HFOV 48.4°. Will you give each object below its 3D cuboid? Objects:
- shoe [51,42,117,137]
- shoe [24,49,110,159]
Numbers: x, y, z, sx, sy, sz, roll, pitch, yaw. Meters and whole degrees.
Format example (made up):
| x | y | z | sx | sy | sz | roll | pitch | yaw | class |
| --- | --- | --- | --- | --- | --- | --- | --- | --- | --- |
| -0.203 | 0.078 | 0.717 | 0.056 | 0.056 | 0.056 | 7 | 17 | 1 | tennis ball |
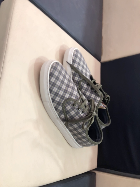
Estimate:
| x | y | z | sx | sy | sz | roll | pitch | yaw | class |
| --- | --- | --- | --- | --- | --- | --- | --- | --- | --- |
| 0.052 | -0.009 | 0.491 | 0.101 | 0.099 | 0.260 | -36 | 115 | -42 | shoe |
| 0.007 | 0.036 | 0.424 | 0.101 | 0.099 | 0.271 | -46 | 122 | -38 | shoe |
